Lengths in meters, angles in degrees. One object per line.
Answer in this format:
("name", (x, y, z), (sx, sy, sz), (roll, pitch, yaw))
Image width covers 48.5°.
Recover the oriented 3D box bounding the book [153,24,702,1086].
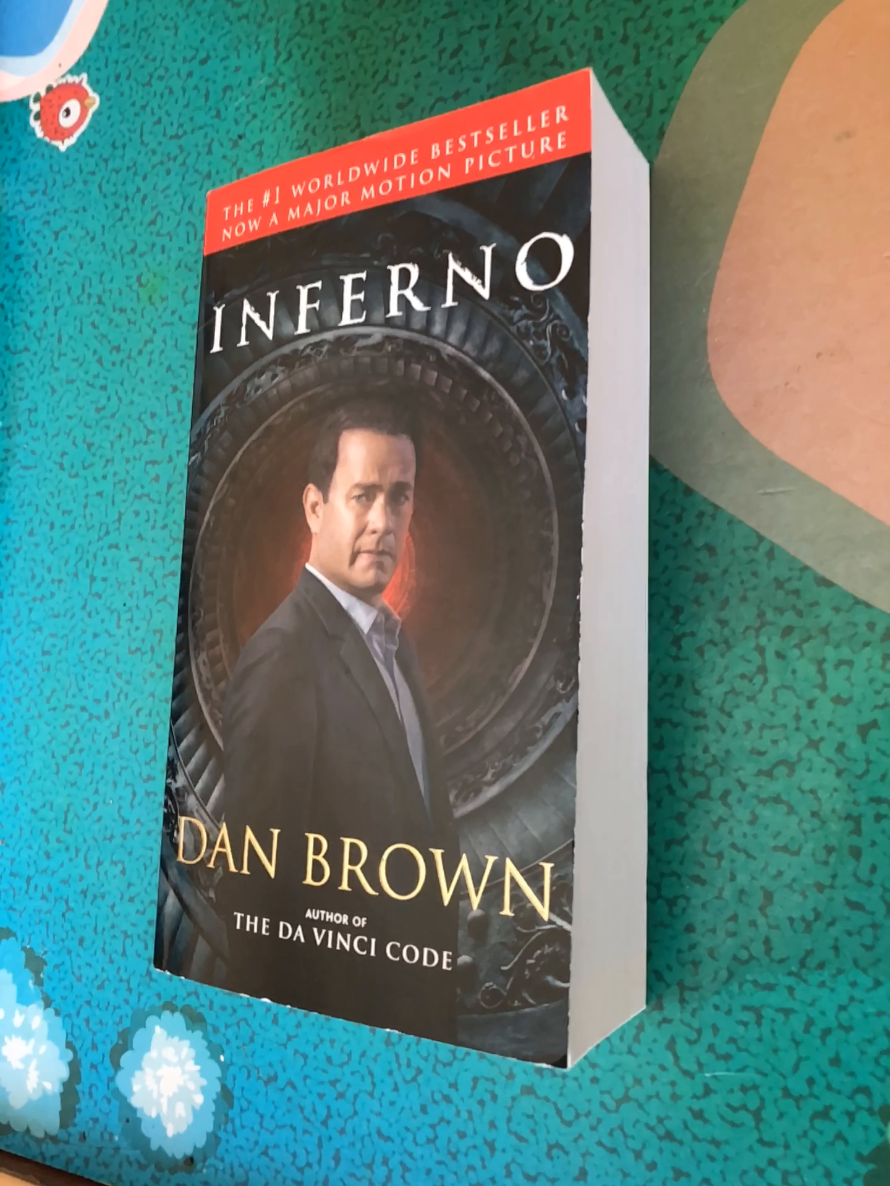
("book", (-0.002, -0.008, 0.237), (0.110, 0.060, 0.200), (-1, 84, 29))
